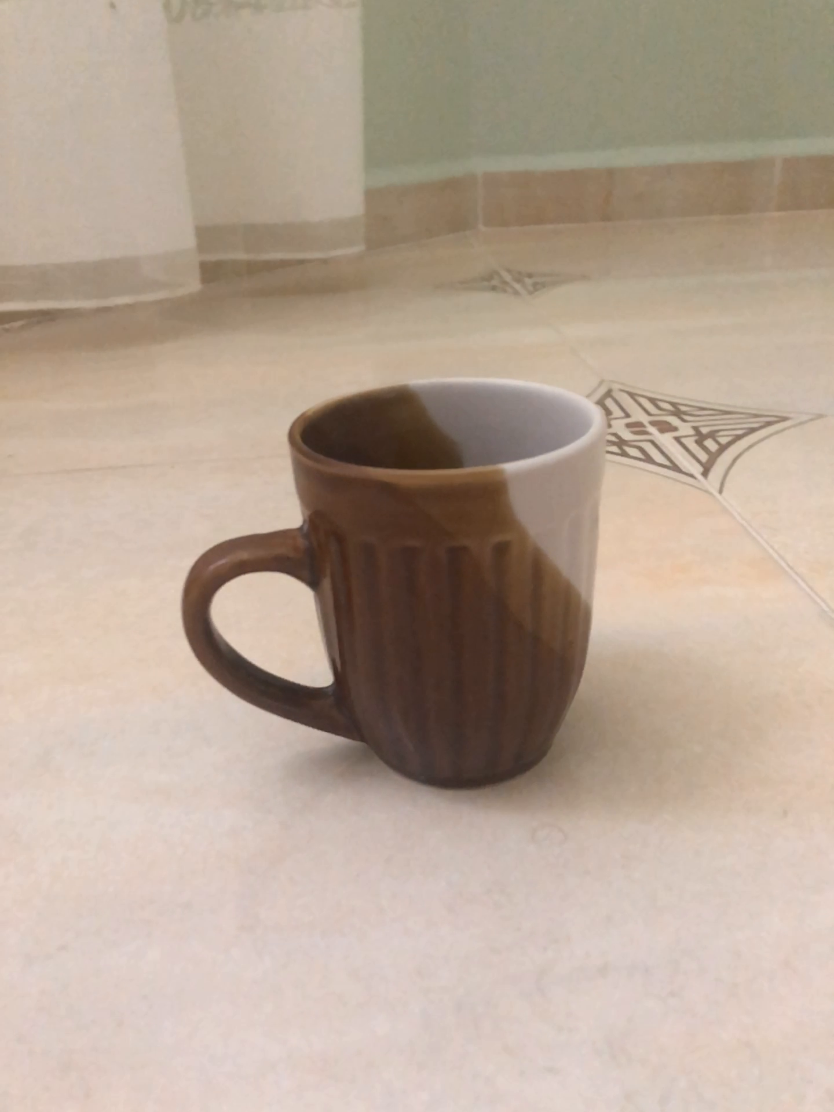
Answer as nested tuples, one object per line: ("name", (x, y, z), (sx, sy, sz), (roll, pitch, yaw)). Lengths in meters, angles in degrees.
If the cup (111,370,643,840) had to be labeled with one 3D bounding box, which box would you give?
("cup", (-0.006, 0.008, 0.231), (0.103, 0.086, 0.076), (-3, 25, 0))
